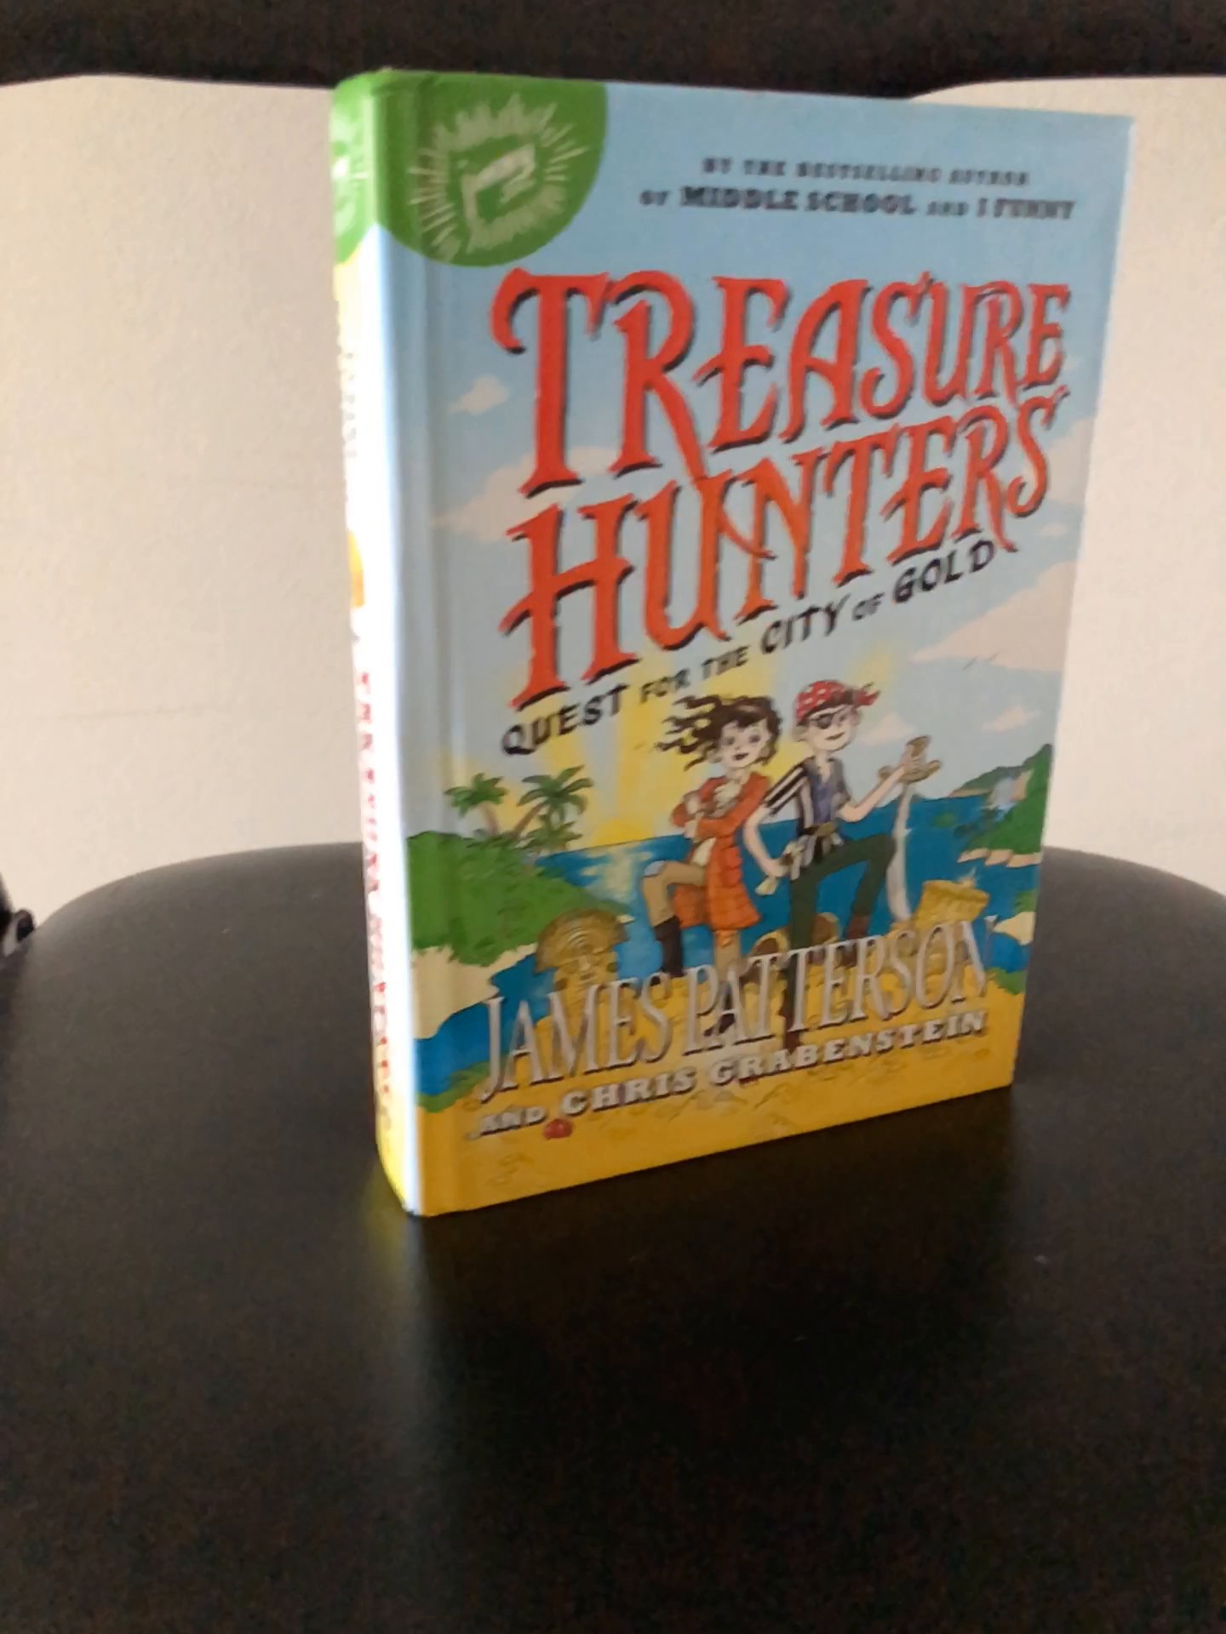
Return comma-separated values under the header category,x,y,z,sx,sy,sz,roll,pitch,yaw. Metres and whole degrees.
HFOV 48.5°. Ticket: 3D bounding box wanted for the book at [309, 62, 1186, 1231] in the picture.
category,x,y,z,sx,sy,sz,roll,pitch,yaw
book,0.025,-0.030,0.286,0.154,0.215,0.040,-8,24,-19
